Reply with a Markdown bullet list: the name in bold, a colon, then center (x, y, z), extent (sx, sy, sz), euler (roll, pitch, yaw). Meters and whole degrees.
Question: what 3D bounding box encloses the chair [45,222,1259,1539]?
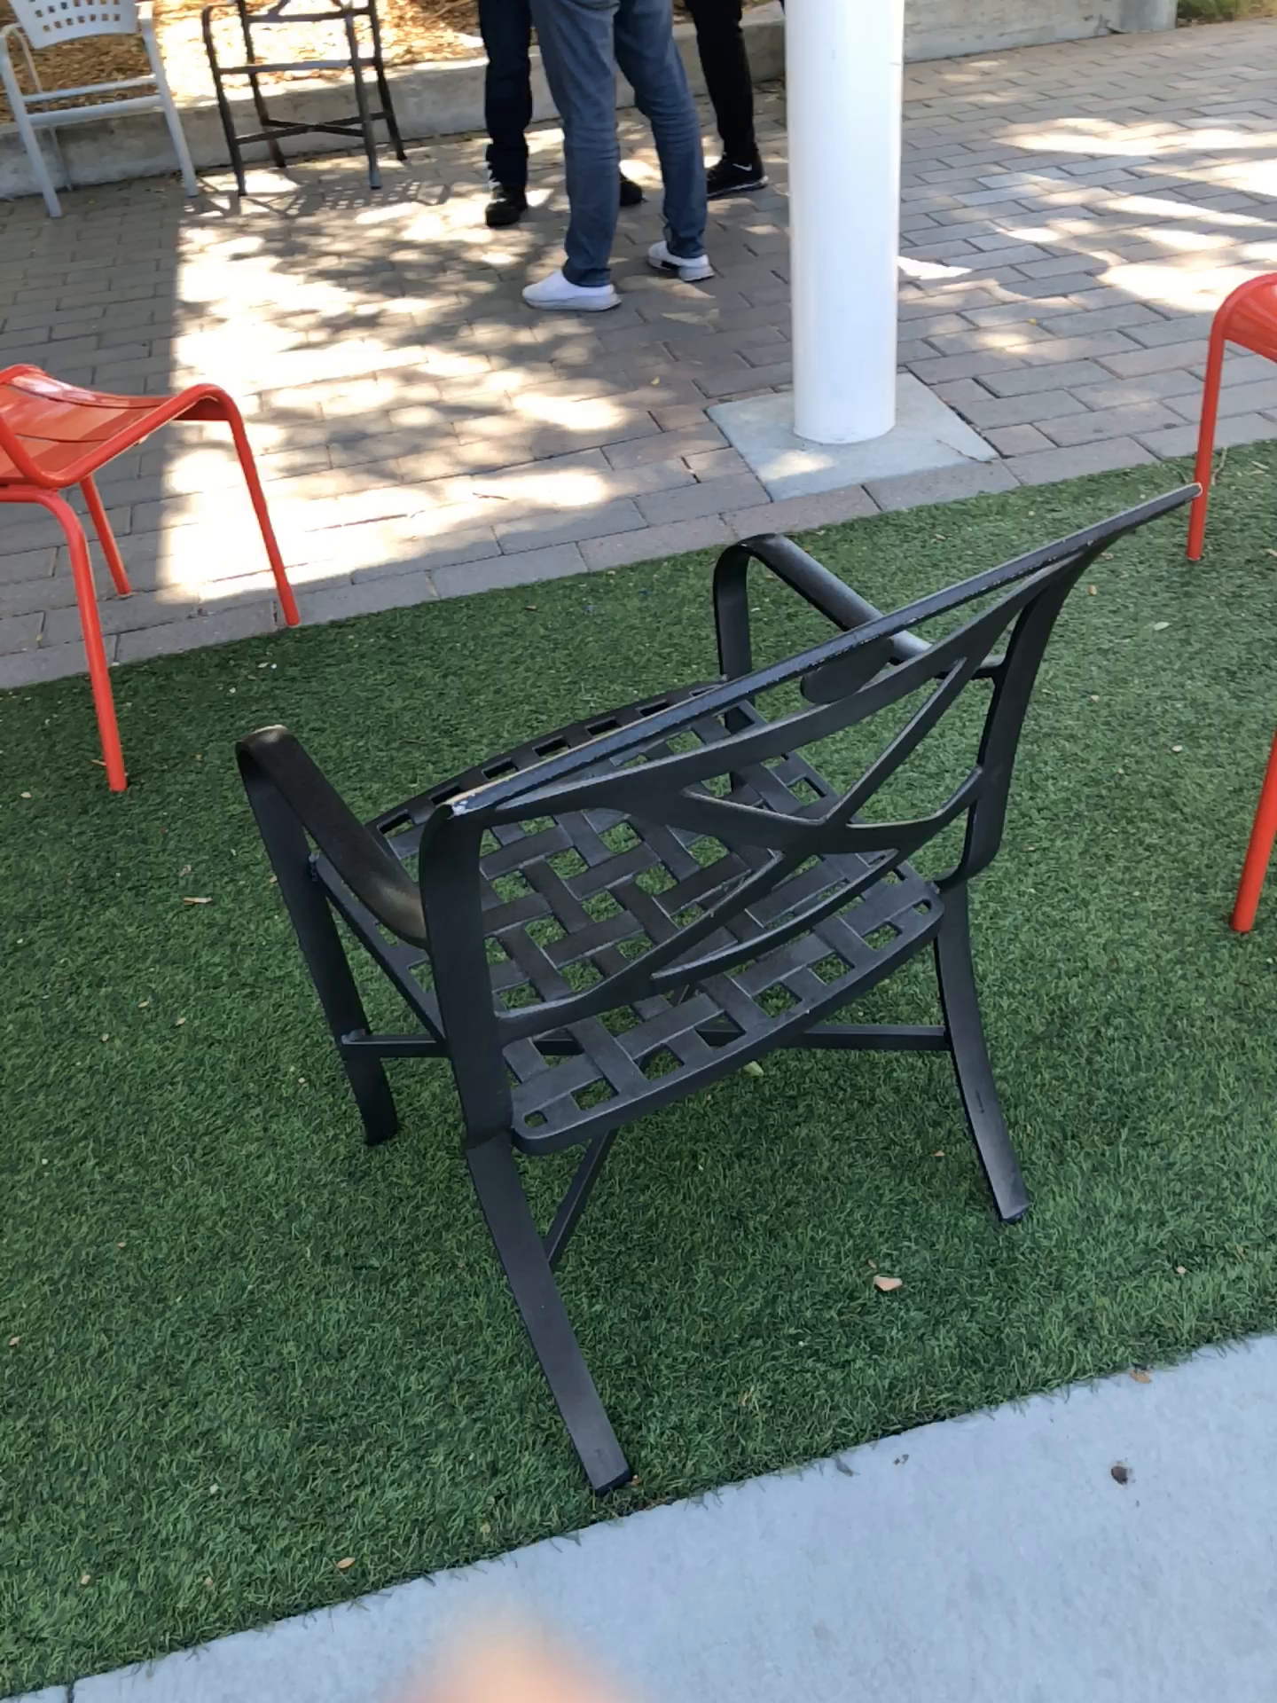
- **chair**: center (-0.005, -0.011, 1.284), extent (0.640, 0.806, 0.643), euler (-25, 44, -23)
